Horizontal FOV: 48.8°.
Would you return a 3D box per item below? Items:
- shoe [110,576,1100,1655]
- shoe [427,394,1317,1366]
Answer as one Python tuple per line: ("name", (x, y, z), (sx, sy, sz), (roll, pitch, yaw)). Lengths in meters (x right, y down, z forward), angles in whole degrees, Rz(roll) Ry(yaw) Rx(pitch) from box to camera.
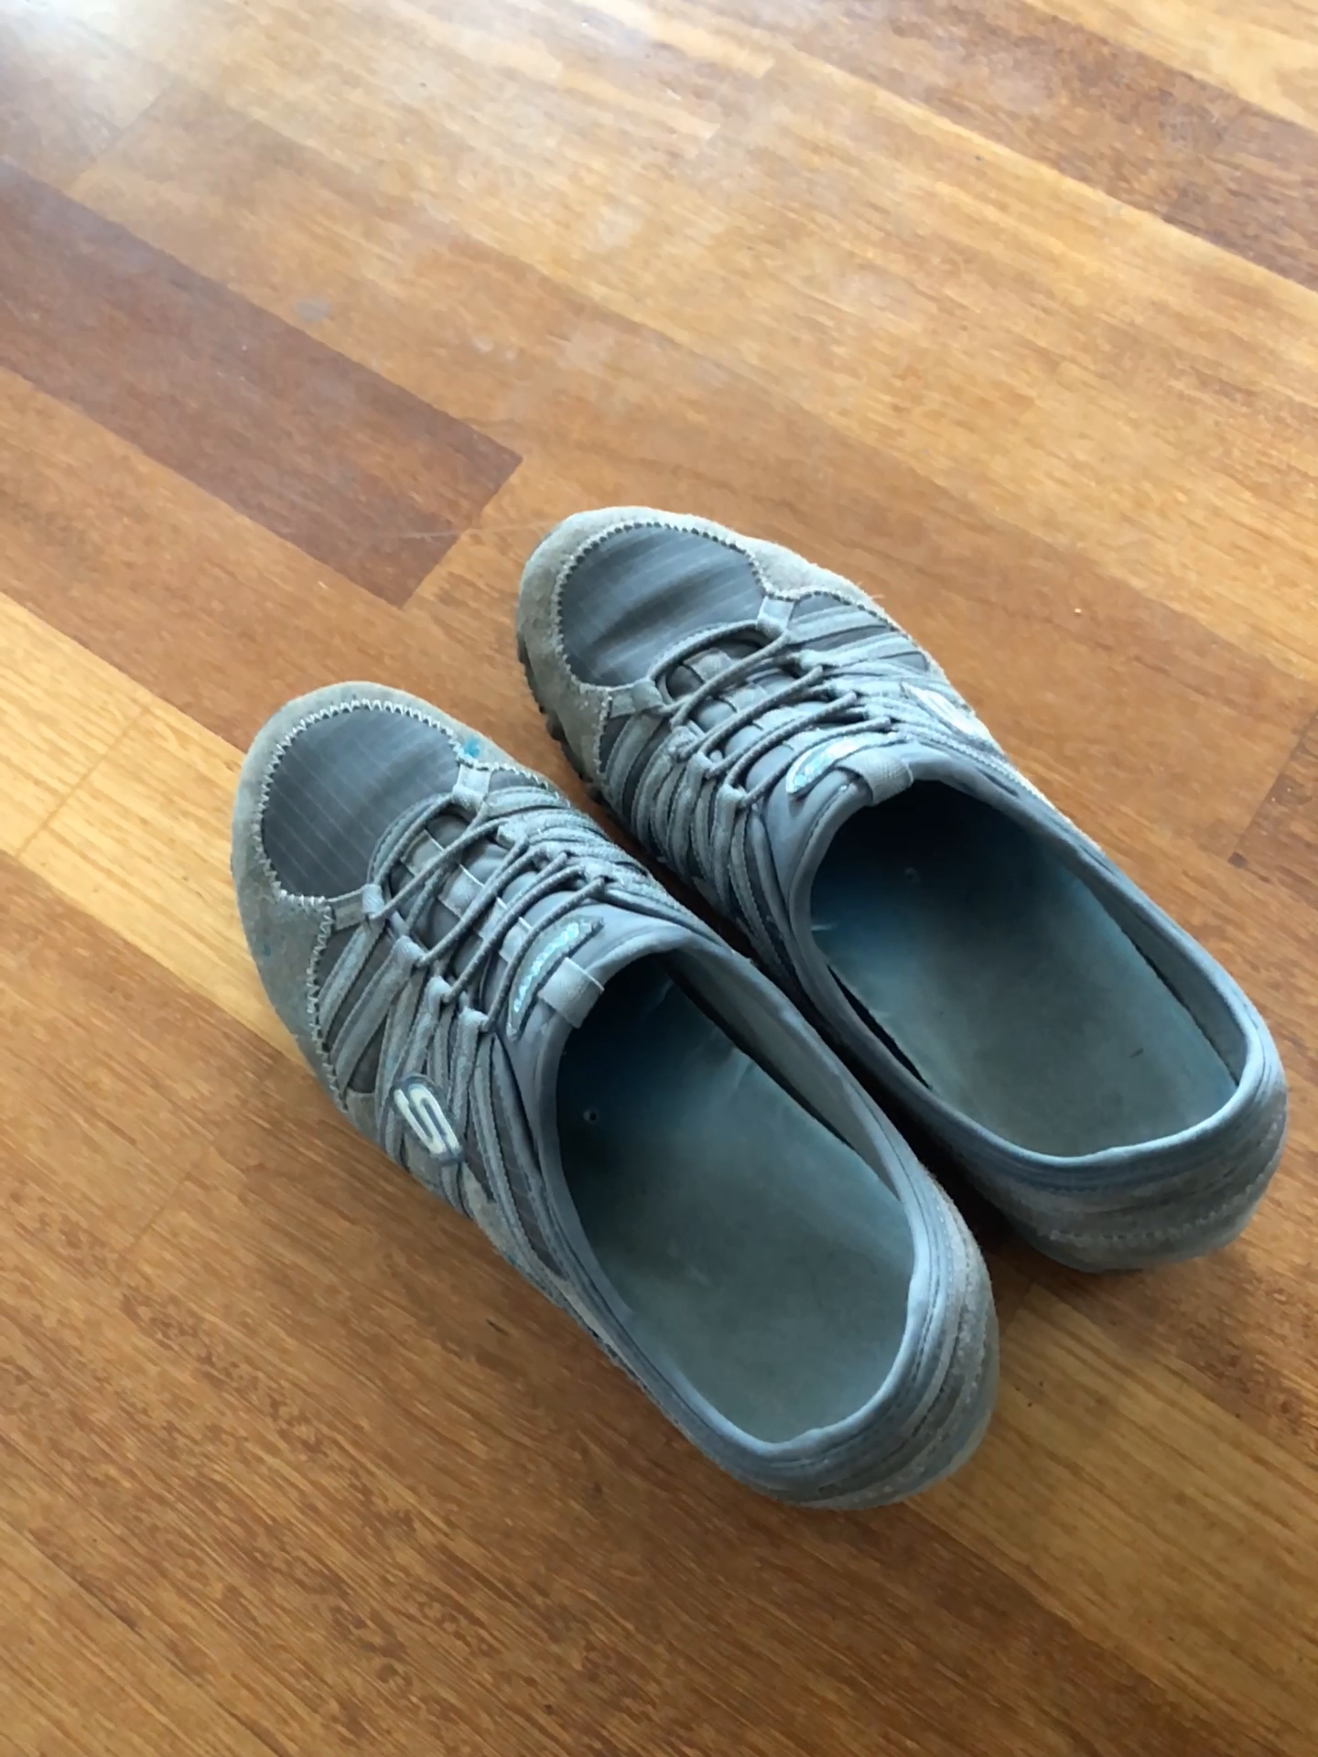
("shoe", (-0.020, 0.057, 0.393), (0.096, 0.106, 0.253), (-38, 73, -11))
("shoe", (0.056, 0.002, 0.406), (0.093, 0.106, 0.250), (-38, 73, -11))
